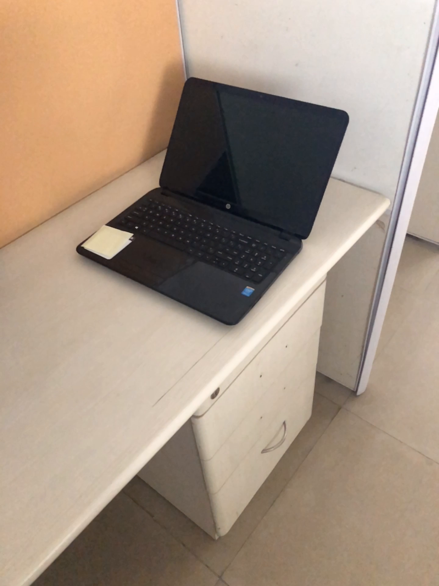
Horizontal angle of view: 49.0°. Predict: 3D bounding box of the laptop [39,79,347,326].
[{"bbox_3d":[-0.030,-0.213,0.948,0.391,0.204,0.418,24,51,26],"label":"laptop"}]
